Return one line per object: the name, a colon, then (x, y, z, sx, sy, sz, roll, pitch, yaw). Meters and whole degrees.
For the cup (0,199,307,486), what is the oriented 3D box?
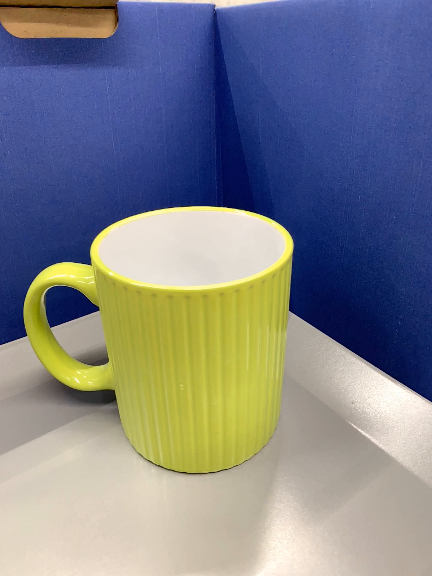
cup: (-0.028, 0.019, 0.218, 0.129, 0.098, 0.091, 2, 28, 6)
